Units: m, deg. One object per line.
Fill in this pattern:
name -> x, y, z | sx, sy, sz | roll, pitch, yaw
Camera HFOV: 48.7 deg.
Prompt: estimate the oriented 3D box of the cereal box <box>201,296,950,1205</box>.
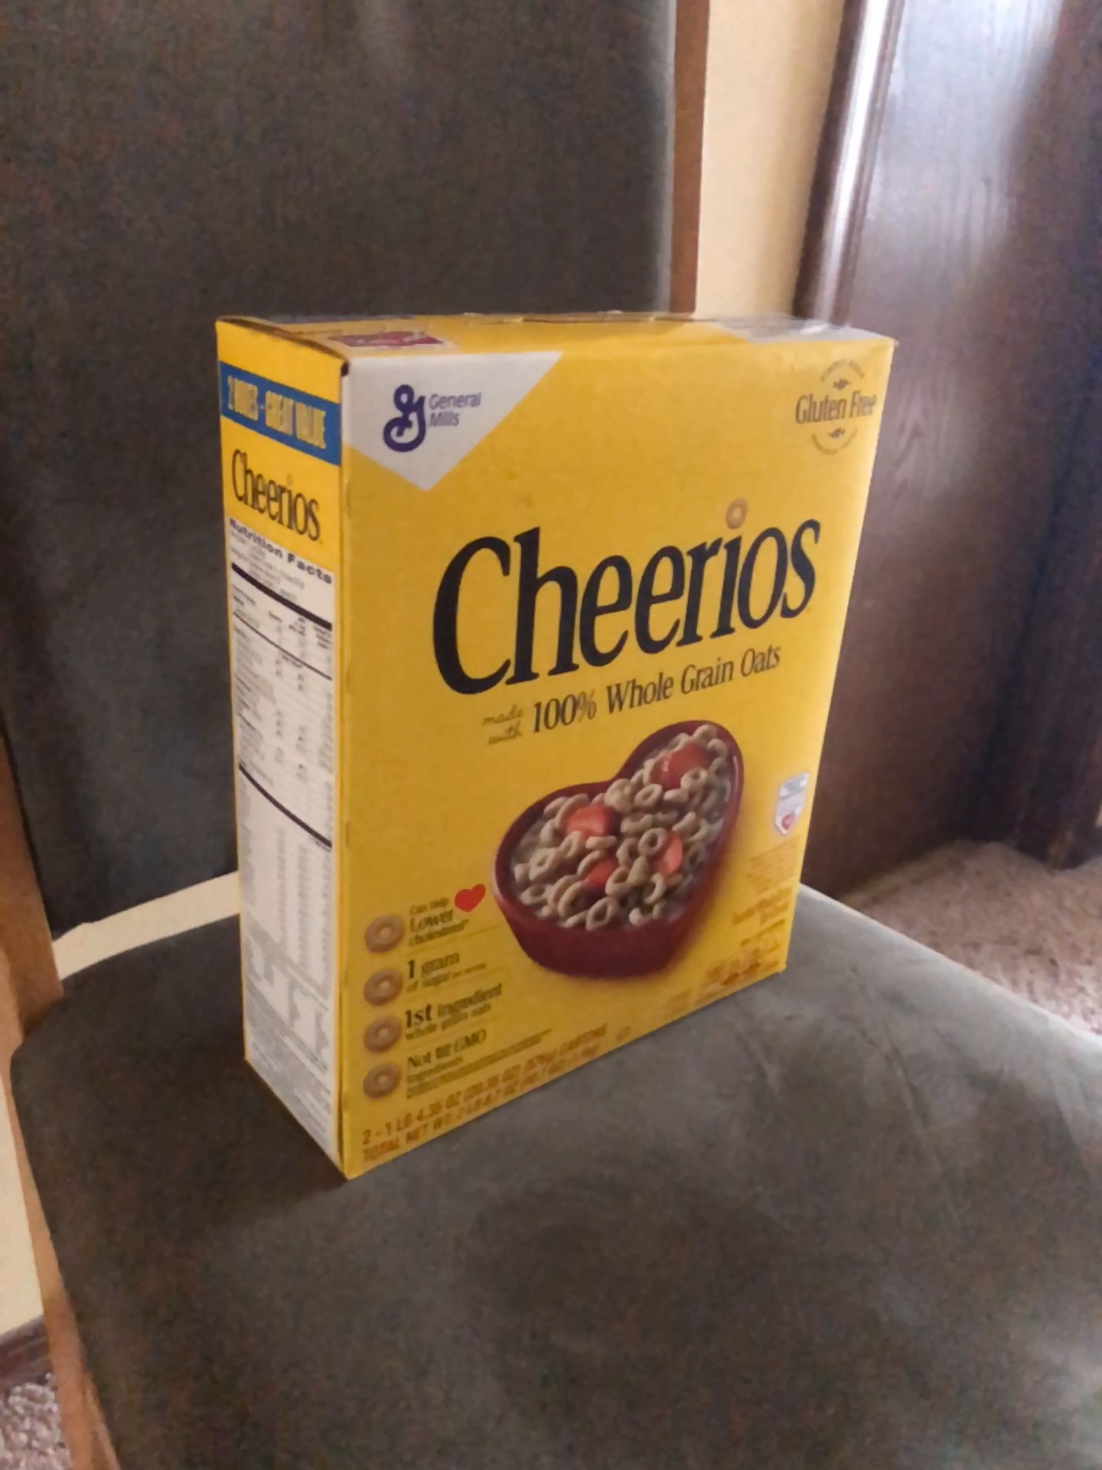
cereal box -> 0.011, -0.010, 0.484 | 0.260, 0.299, 0.090 | -15, 32, -36
